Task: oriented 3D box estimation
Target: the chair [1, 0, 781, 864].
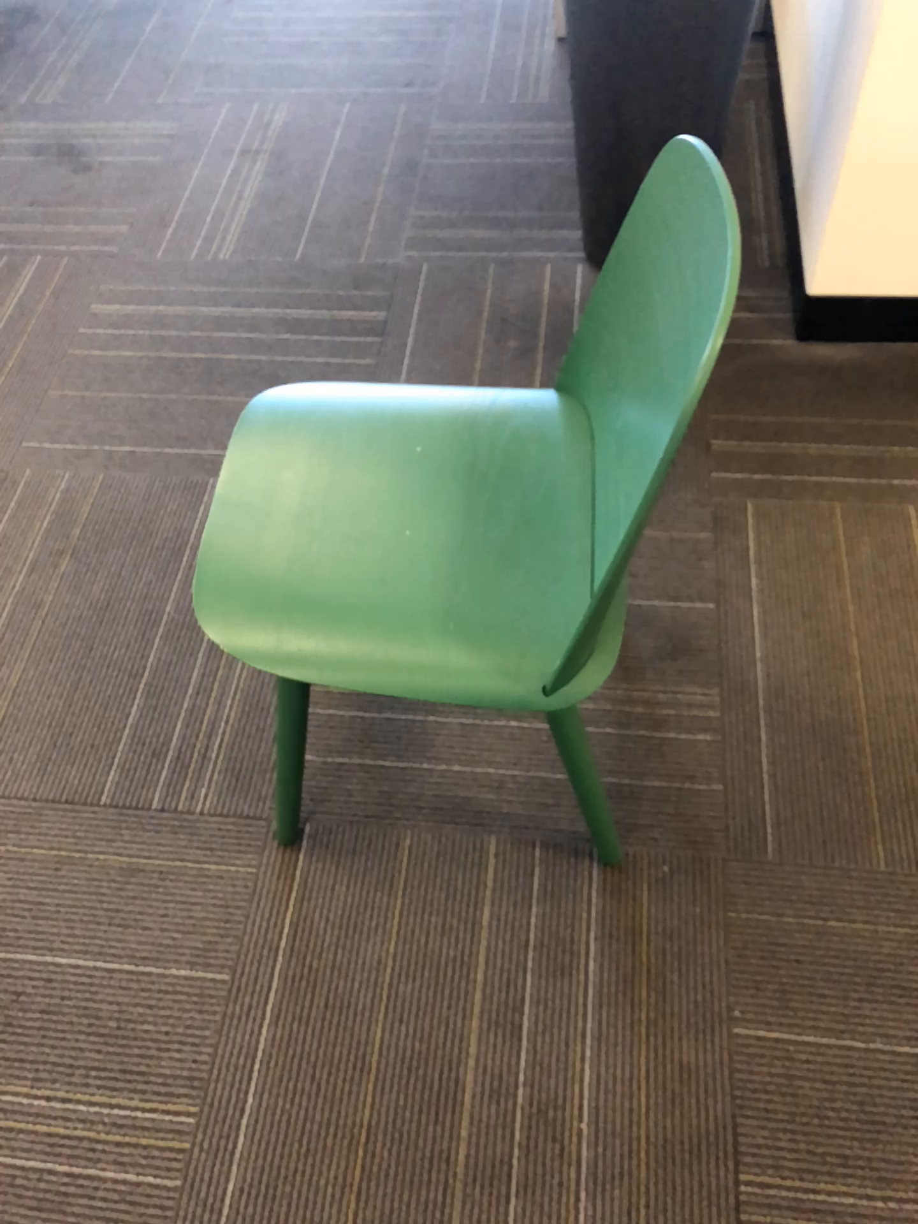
[{"bbox_3d":[-0.010,-0.127,1.106,0.500,0.777,0.502,0,53,5],"label":"chair"}]
